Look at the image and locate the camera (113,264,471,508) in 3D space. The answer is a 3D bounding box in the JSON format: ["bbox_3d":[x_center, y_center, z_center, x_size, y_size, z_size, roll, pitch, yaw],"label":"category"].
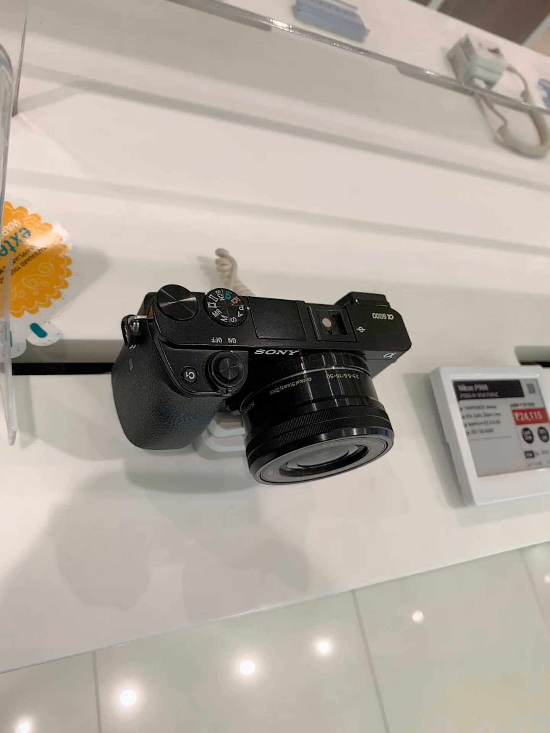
[{"bbox_3d":[0.003,0.009,0.210,0.104,0.063,0.058,0,65,-29],"label":"camera"}]
